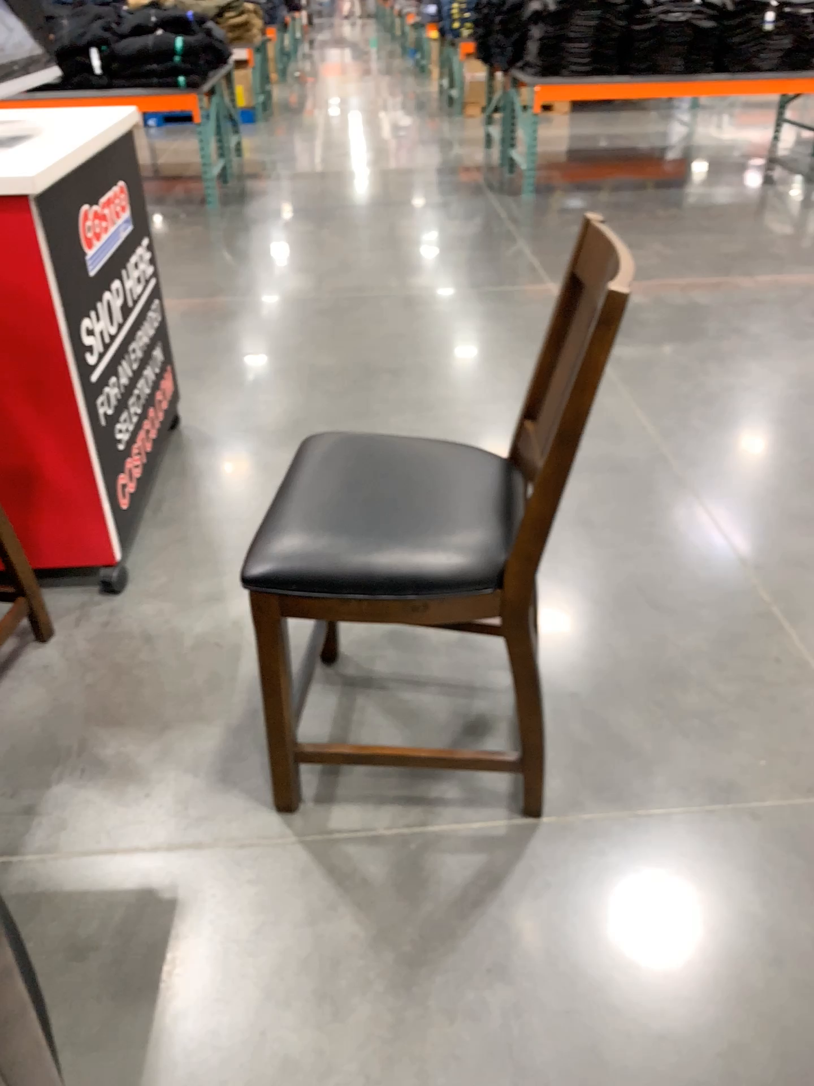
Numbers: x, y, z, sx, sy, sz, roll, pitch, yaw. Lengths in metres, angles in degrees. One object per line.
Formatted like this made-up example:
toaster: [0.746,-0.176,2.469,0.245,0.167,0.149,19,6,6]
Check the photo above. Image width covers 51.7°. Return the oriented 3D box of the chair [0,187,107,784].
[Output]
chair: [-1.115,-0.117,1.631,0.654,0.952,0.600,3,34,5]

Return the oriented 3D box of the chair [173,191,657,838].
chair: [0.027,-0.034,1.517,0.587,1.022,0.527,2,34,4]

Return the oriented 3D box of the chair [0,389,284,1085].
chair: [-0.547,0.509,0.718,0.545,1.022,0.589,-28,42,-35]
